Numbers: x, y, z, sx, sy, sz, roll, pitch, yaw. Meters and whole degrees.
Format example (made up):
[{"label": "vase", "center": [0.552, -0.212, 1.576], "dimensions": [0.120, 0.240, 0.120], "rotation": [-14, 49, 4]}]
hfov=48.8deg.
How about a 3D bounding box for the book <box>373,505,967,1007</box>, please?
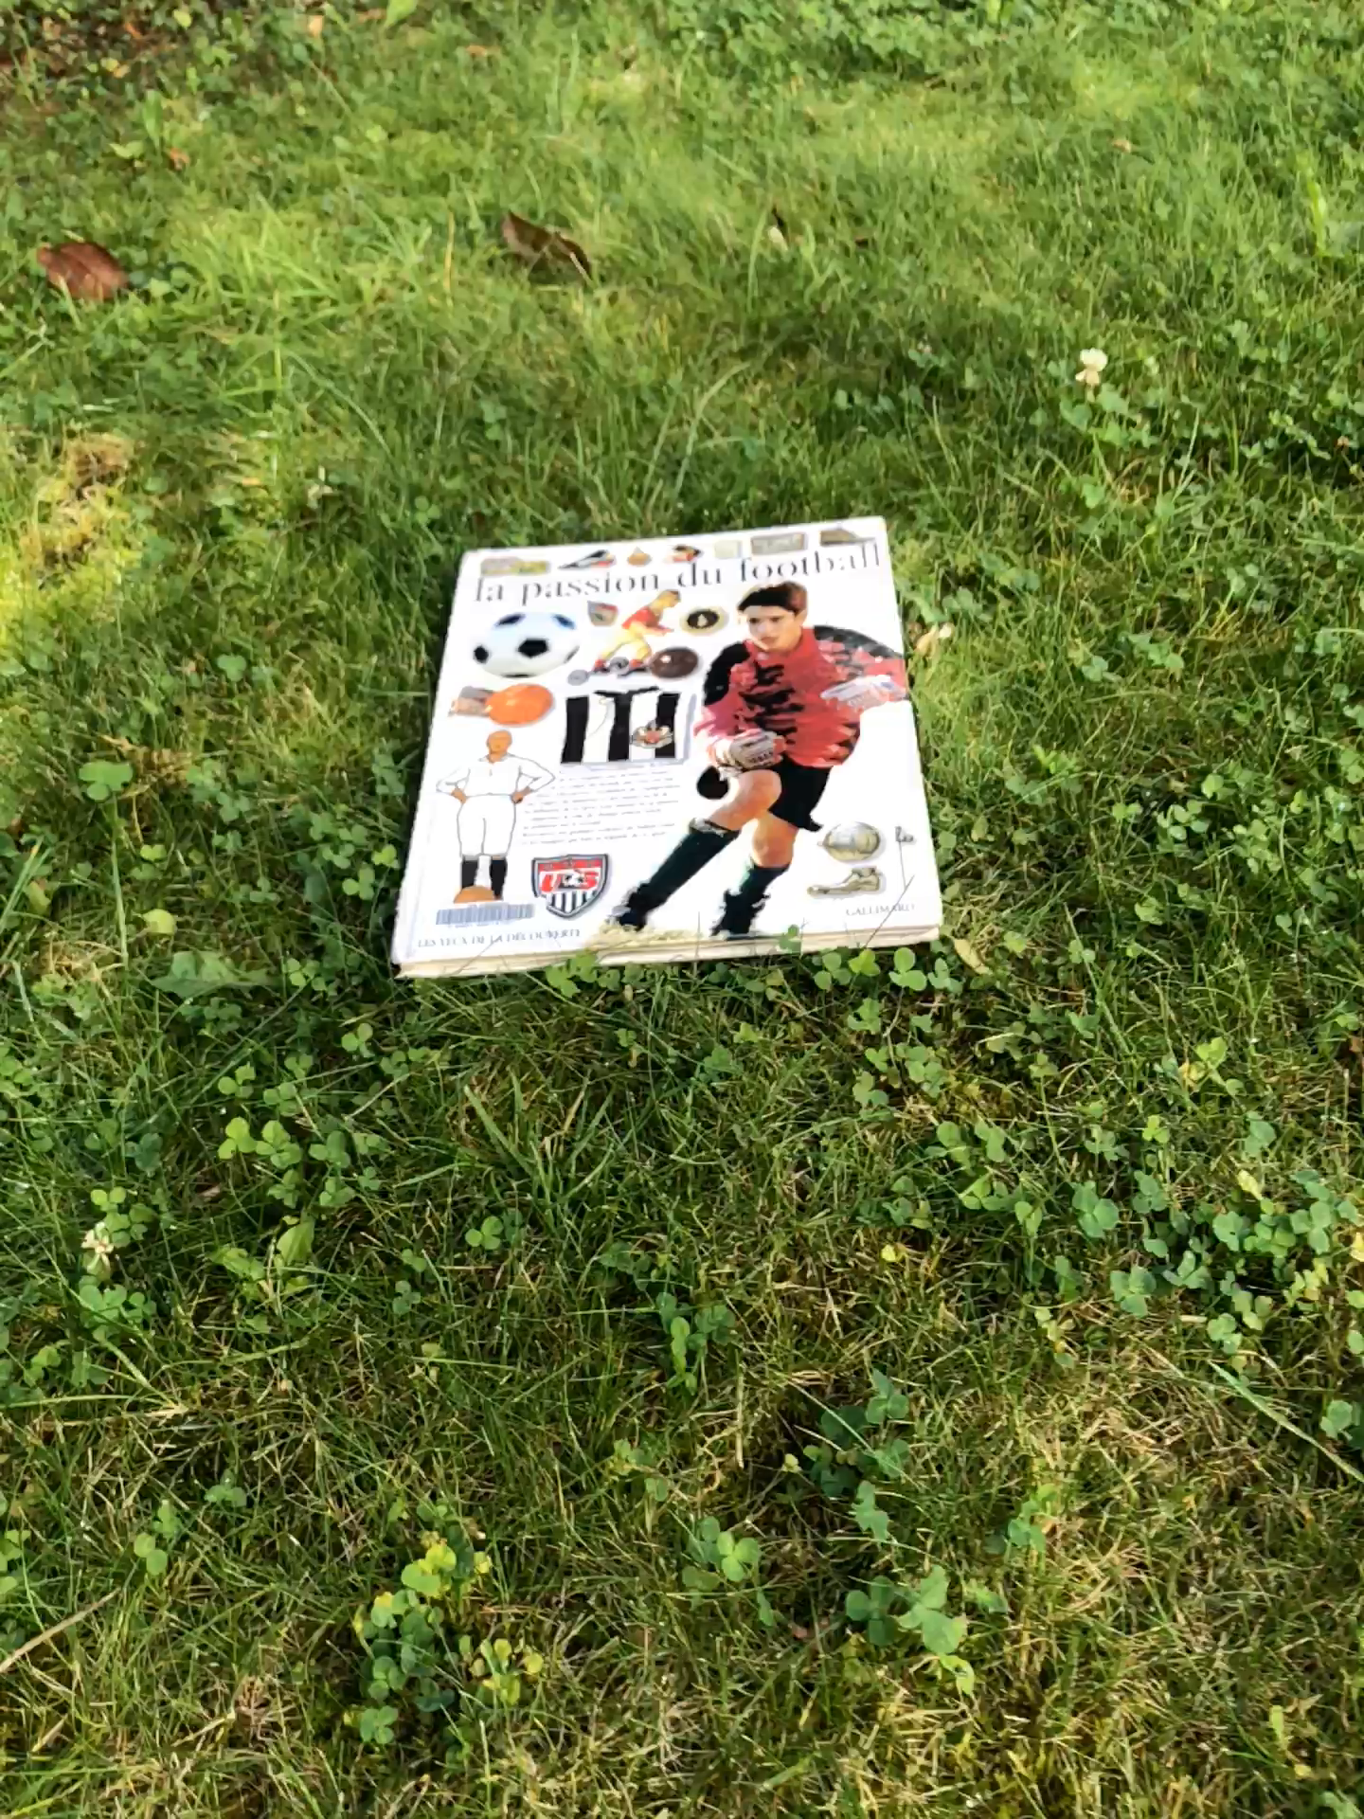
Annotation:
[{"label": "book", "center": [-0.004, -0.085, 0.689], "dimensions": [0.230, 0.020, 0.302], "rotation": [-4, 46, 5]}]
